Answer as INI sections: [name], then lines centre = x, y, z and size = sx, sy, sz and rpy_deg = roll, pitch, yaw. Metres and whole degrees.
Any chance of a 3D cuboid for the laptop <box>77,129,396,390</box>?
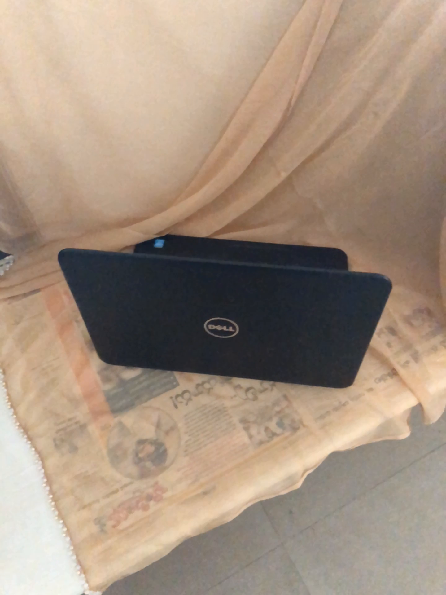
[laptop]
centre = 0.021, -0.053, 0.687
size = 0.332, 0.238, 0.257
rpy_deg = 4, 53, 6
